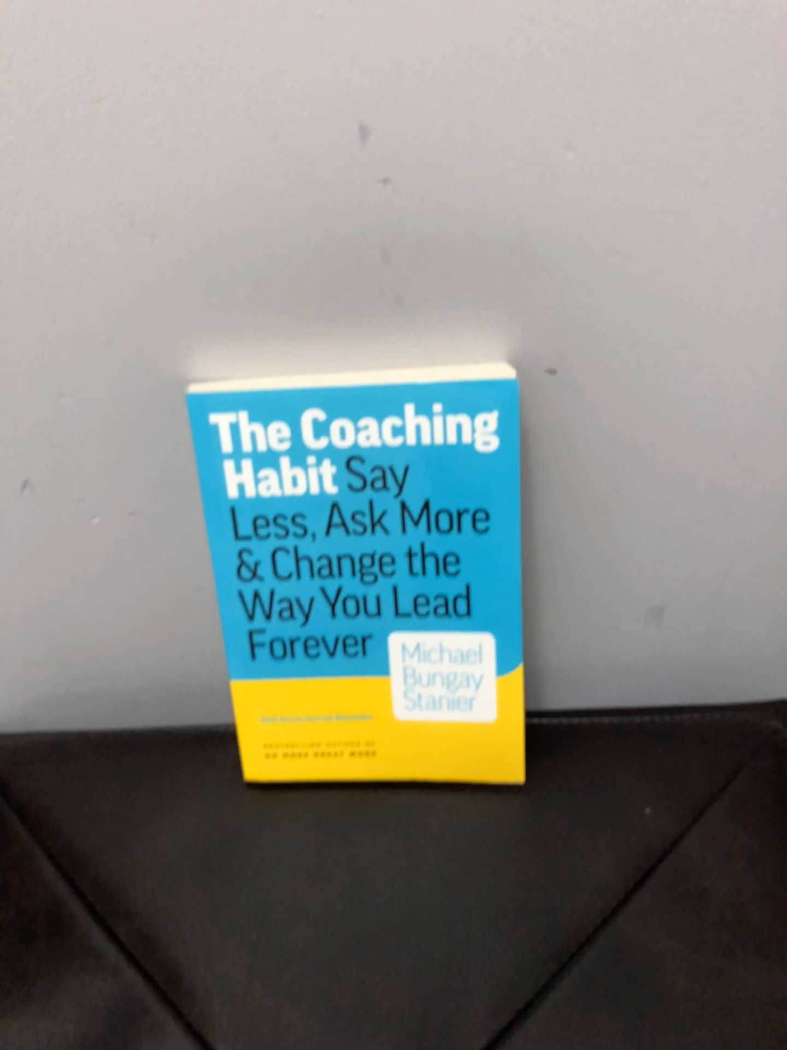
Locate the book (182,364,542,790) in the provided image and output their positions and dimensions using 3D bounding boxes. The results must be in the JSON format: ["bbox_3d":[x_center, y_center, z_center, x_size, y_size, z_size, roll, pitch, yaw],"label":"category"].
[{"bbox_3d":[-0.009,0.029,0.402,0.145,0.195,0.030,-1,20,4],"label":"book"}]
